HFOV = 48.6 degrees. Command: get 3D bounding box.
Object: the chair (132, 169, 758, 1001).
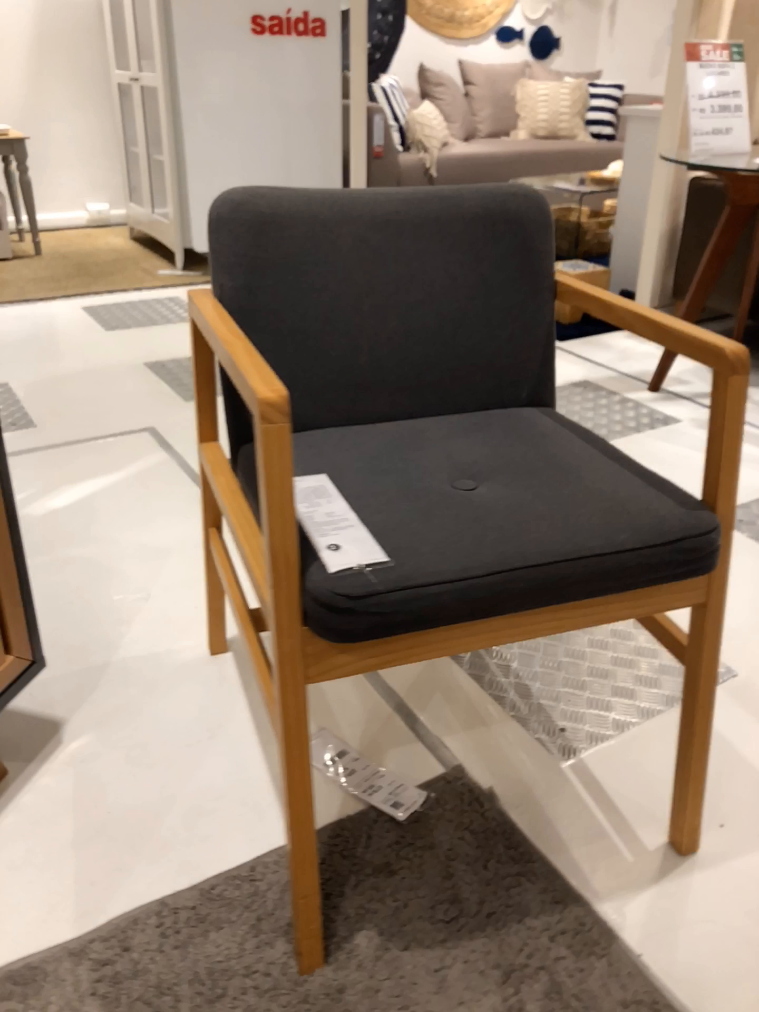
[{"bbox_3d":[0.045,-0.004,1.097,0.561,0.735,0.704,-9,29,-19],"label":"chair"}]
